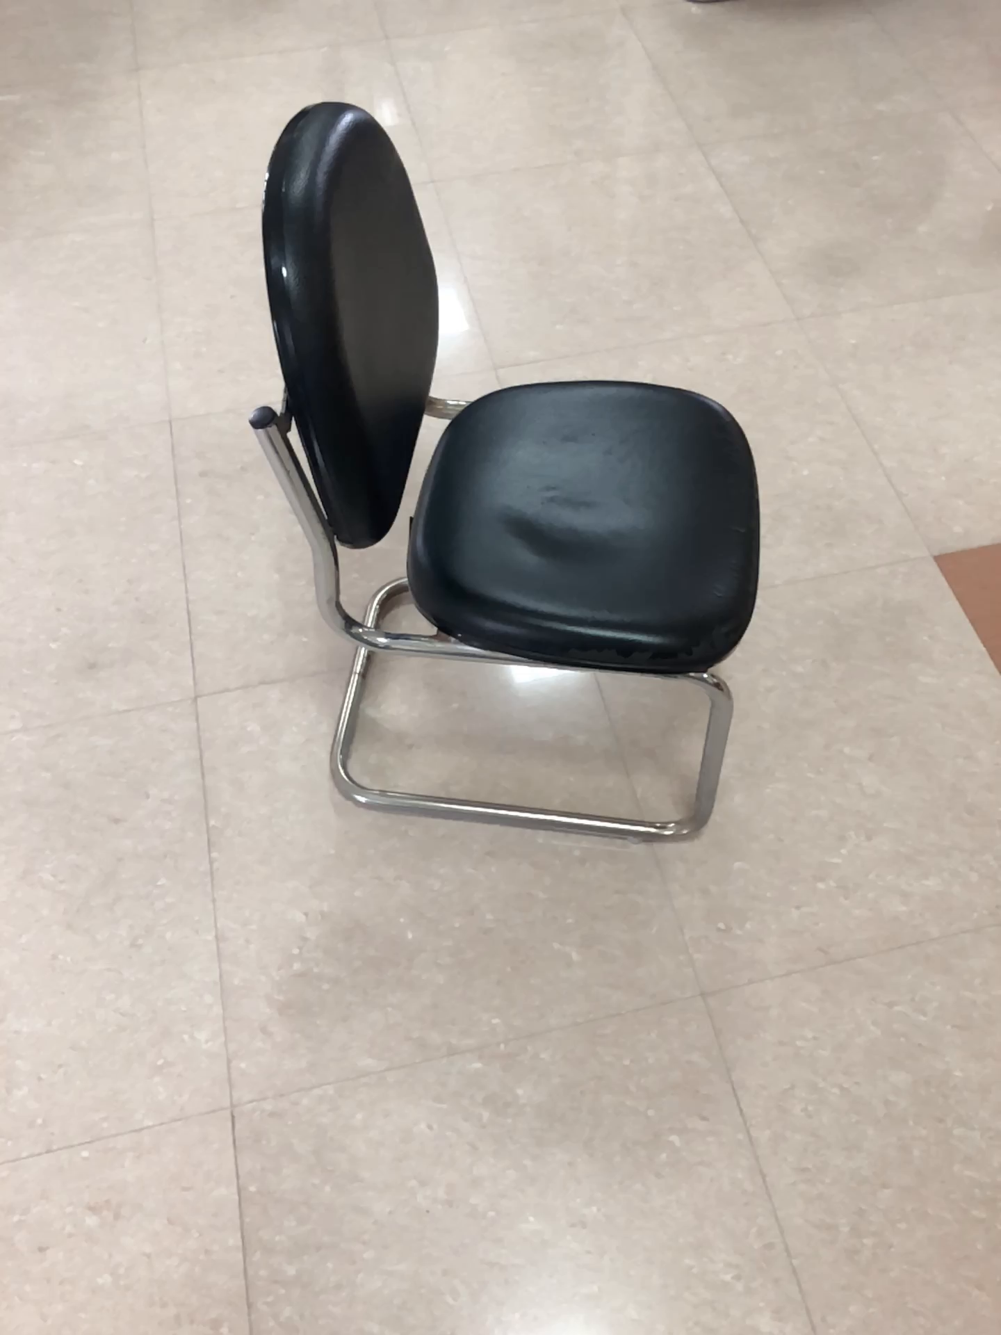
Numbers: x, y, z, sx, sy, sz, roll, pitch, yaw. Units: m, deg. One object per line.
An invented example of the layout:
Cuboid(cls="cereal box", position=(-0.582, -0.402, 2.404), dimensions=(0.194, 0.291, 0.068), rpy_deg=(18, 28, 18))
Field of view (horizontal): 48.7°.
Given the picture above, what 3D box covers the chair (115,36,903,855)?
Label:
Cuboid(cls="chair", position=(0.027, -0.196, 1.277), dimensions=(0.590, 0.759, 0.501), rpy_deg=(5, 57, 4))
